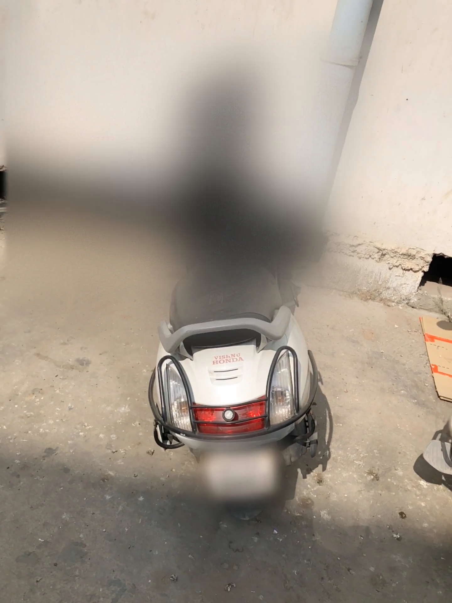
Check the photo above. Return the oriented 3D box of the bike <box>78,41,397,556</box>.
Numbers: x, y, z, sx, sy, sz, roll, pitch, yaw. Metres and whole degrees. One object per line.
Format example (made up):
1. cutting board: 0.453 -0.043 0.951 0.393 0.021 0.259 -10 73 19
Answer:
1. bike: -0.194 -0.104 1.769 0.625 1.122 1.307 1 35 -15
